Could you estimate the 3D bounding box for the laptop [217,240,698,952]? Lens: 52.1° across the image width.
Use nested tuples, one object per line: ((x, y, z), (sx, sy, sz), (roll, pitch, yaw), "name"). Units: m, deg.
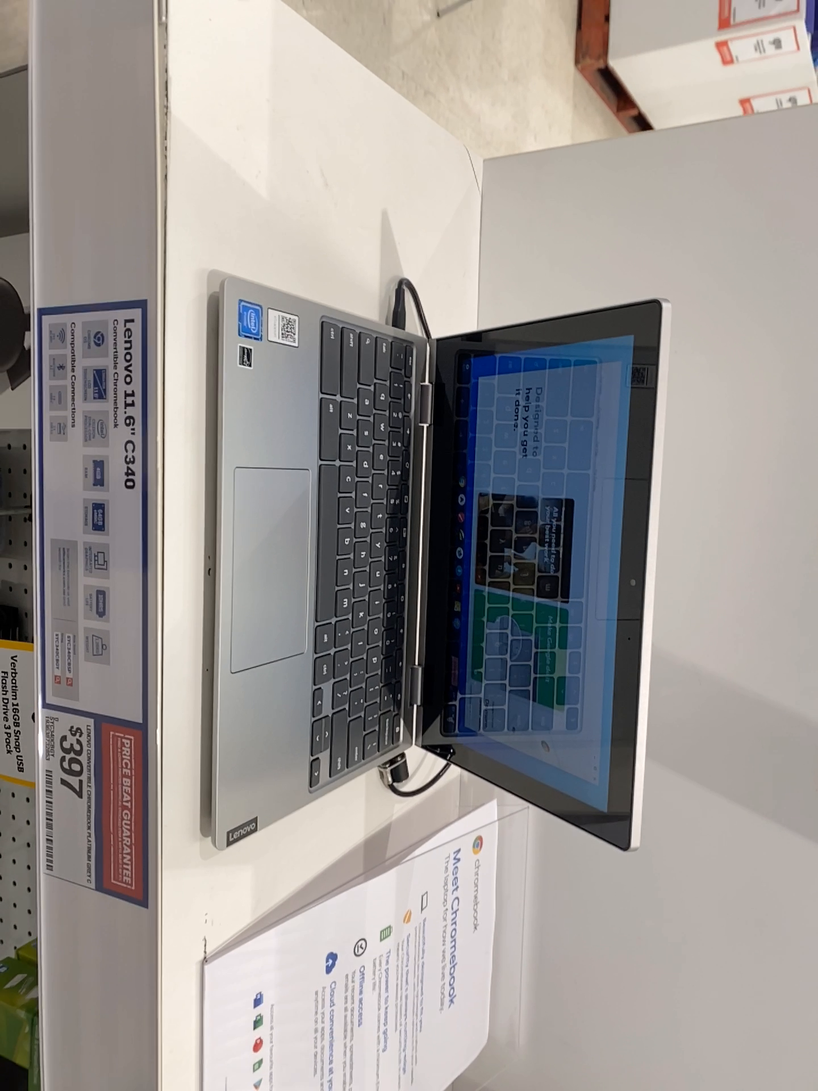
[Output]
((0.035, 0.013, 0.462), (0.202, 0.180, 0.284), (-6, 99, -59), "laptop")
